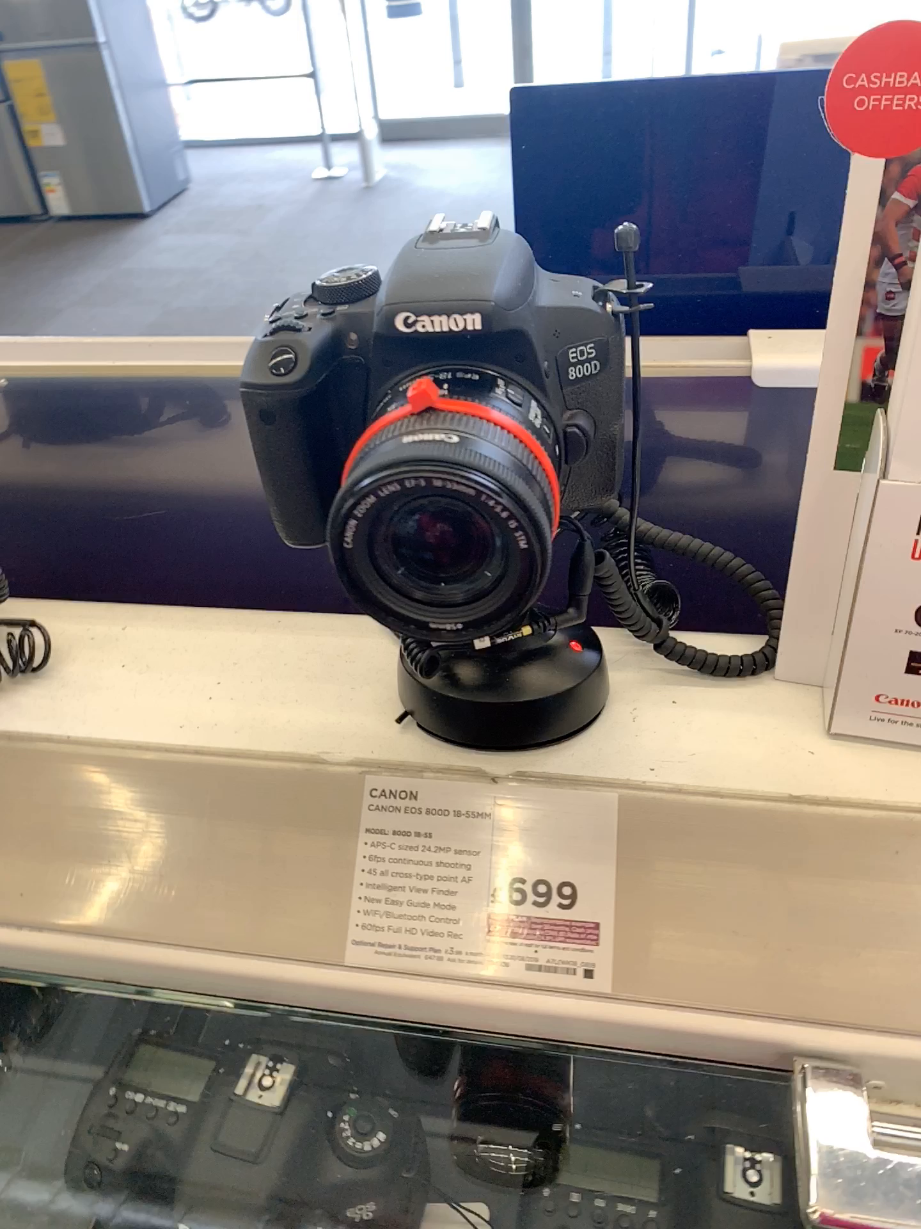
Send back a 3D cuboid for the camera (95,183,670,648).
[{"bbox_3d":[-0.013,-0.070,0.309,0.140,0.089,0.141,-1,38,6],"label":"camera"}]
